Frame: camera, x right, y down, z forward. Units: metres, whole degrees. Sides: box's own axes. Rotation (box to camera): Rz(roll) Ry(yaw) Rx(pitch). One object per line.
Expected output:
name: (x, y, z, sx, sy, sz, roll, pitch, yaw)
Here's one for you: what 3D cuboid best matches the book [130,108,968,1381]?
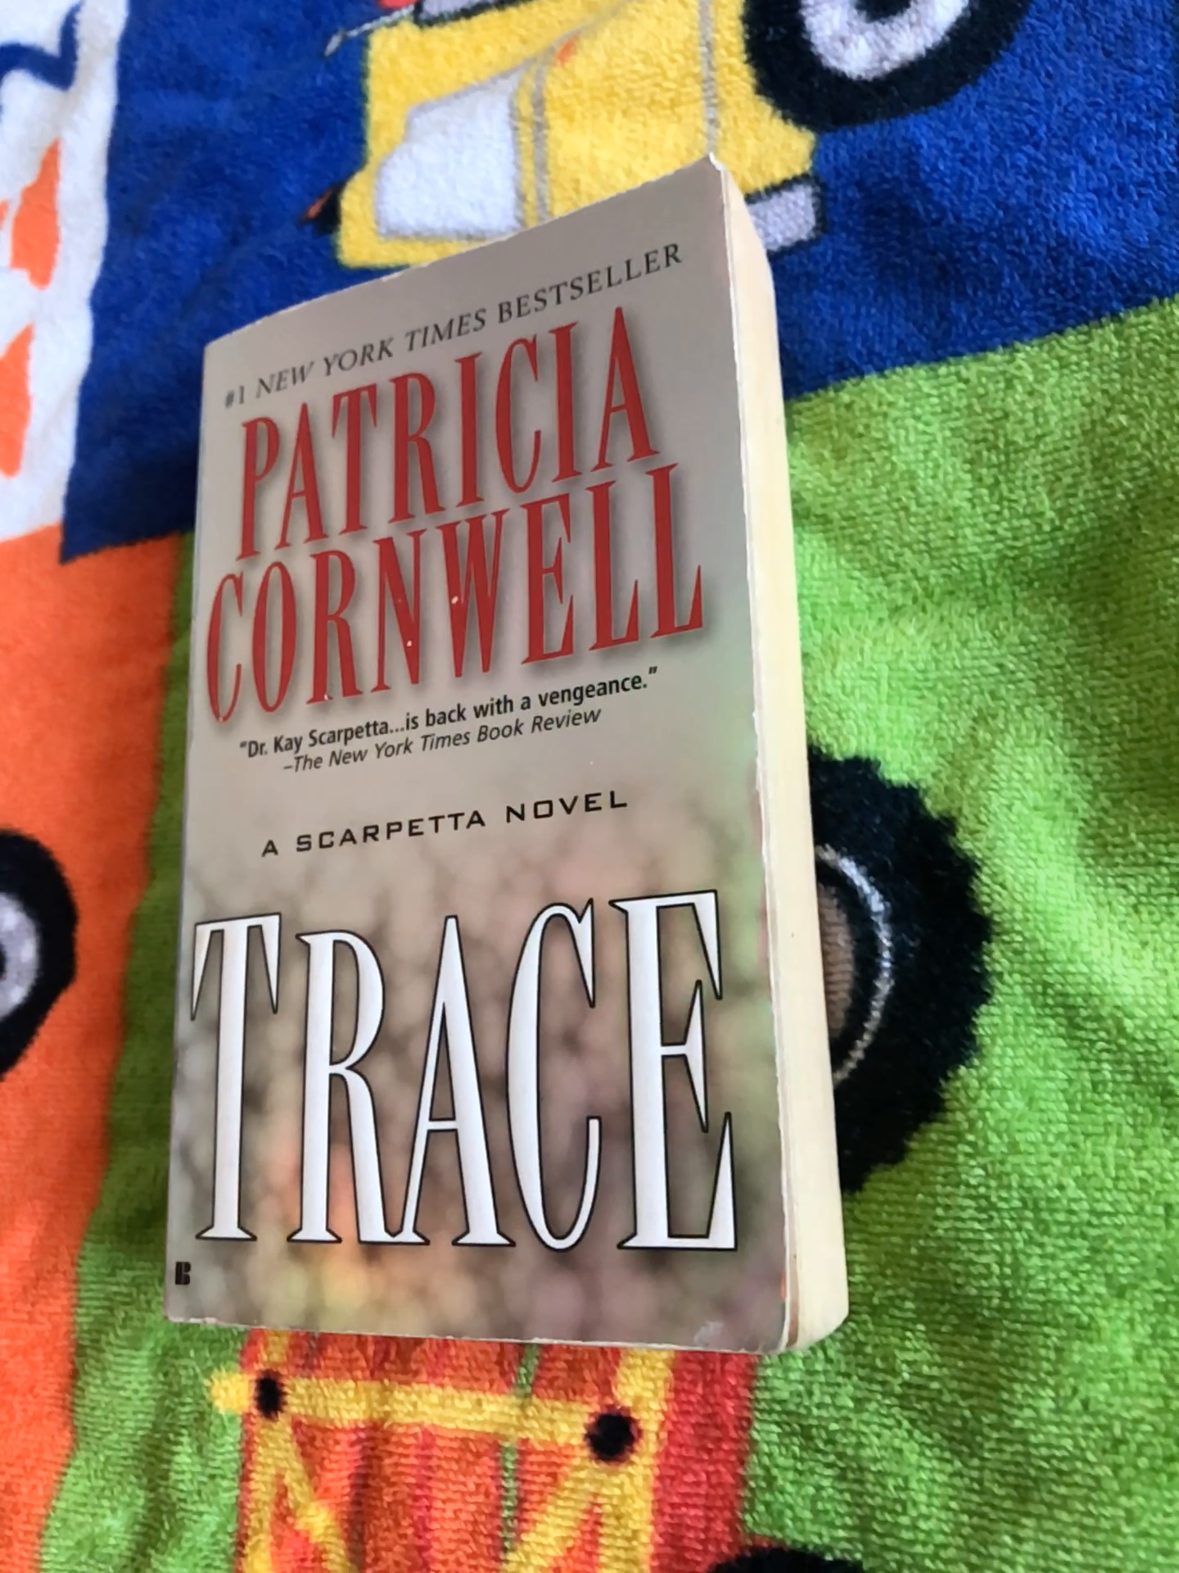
book: (-0.010, -0.005, 0.220, 0.120, 0.040, 0.180, -8, 74, 23)
